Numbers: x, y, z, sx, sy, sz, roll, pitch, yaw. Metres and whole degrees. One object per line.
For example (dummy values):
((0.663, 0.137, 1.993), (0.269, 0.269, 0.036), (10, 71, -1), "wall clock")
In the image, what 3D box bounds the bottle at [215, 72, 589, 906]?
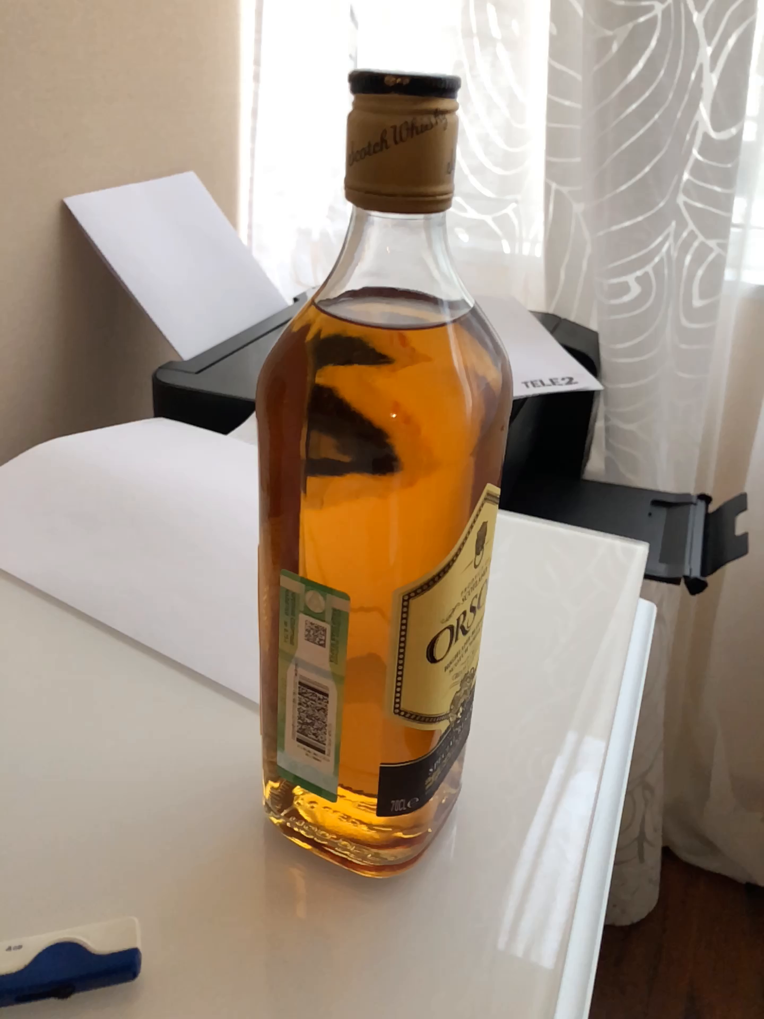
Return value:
((0.003, 0.001, 0.283), (0.070, 0.258, 0.080), (17, 31, 25), "bottle")
